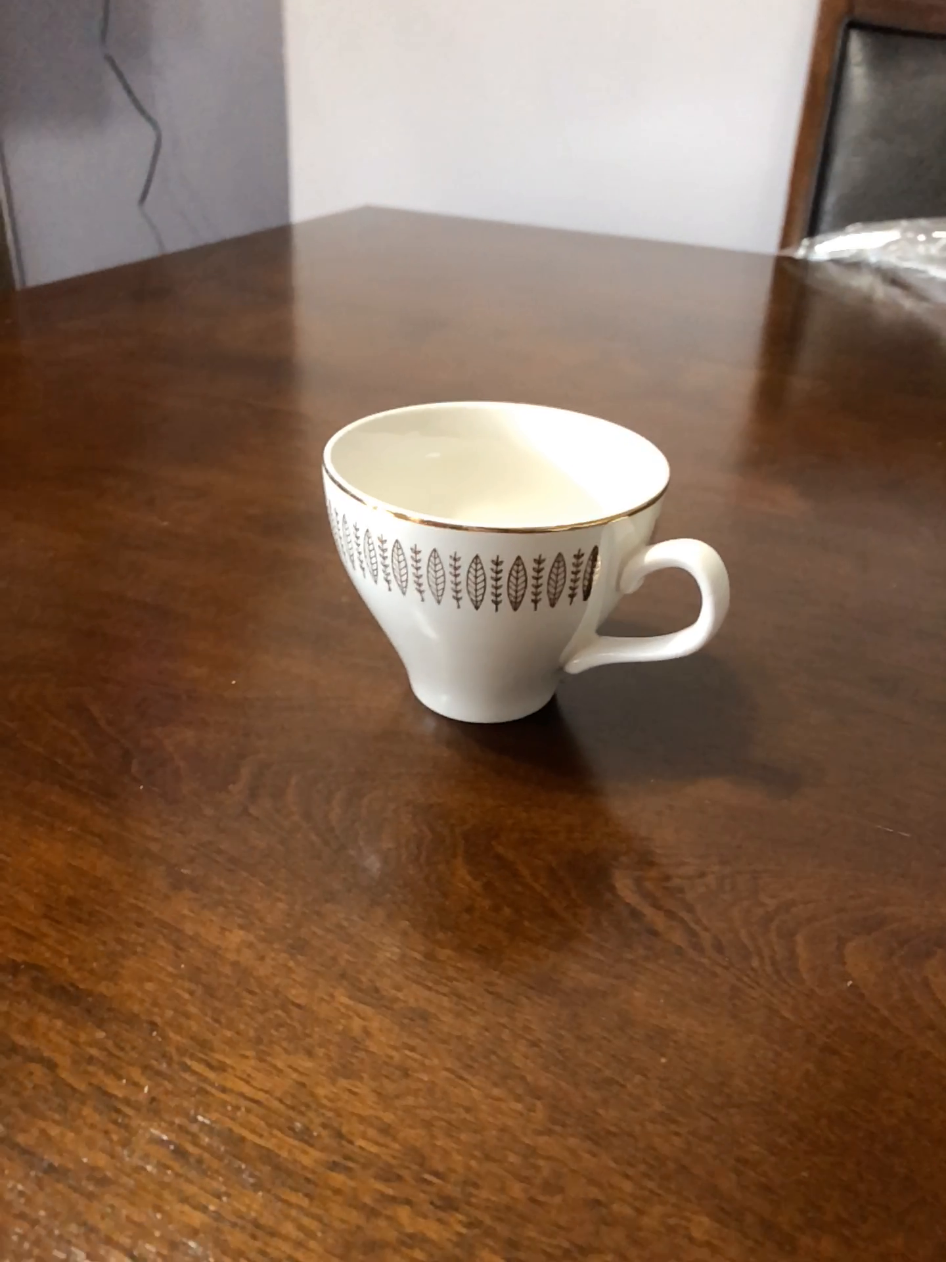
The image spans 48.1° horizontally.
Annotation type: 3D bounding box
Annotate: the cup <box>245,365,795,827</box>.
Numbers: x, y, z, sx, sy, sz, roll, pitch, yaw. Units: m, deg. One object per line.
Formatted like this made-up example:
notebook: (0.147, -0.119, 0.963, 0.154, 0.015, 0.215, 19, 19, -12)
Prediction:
cup: (0.013, -0.017, 0.264, 0.100, 0.060, 0.090, 18, 33, 23)
